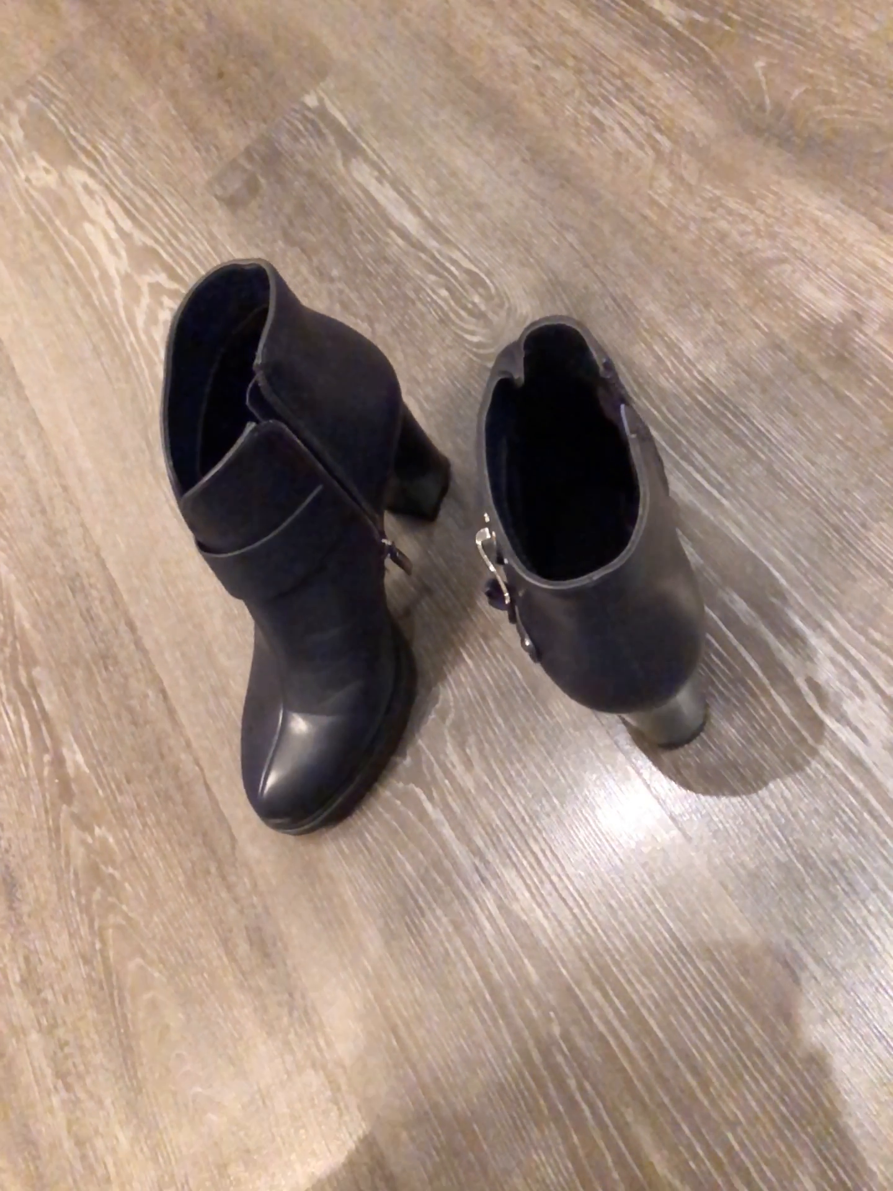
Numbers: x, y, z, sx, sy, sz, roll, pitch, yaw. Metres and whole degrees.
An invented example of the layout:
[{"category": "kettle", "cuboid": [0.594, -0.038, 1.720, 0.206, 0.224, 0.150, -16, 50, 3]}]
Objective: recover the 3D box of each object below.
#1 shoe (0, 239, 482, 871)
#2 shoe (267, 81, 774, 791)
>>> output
[{"category": "shoe", "cuboid": [-0.086, -0.006, 0.432, 0.090, 0.189, 0.210, 10, 74, 26]}, {"category": "shoe", "cuboid": [0.036, -0.050, 0.406, 0.090, 0.189, 0.211, -26, 62, 12]}]
